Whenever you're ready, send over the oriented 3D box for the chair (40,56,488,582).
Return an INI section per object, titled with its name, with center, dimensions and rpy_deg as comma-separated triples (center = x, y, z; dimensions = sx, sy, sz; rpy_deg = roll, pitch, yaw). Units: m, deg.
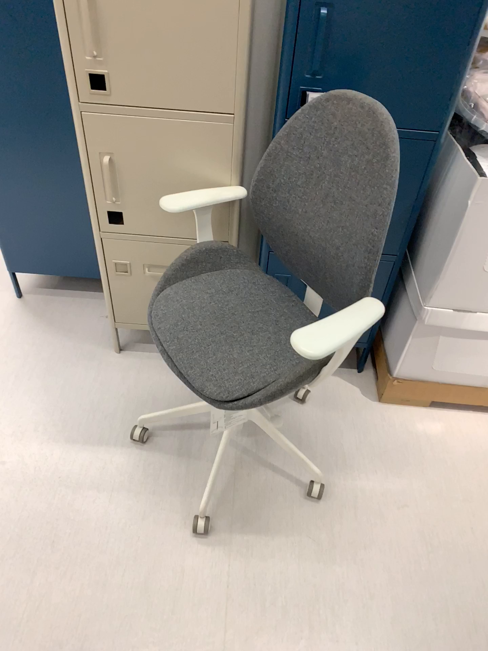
[chair]
center = 0.025, -0.012, 1.261
dimensions = 0.671, 0.996, 0.652
rpy_deg = -21, 49, -25
